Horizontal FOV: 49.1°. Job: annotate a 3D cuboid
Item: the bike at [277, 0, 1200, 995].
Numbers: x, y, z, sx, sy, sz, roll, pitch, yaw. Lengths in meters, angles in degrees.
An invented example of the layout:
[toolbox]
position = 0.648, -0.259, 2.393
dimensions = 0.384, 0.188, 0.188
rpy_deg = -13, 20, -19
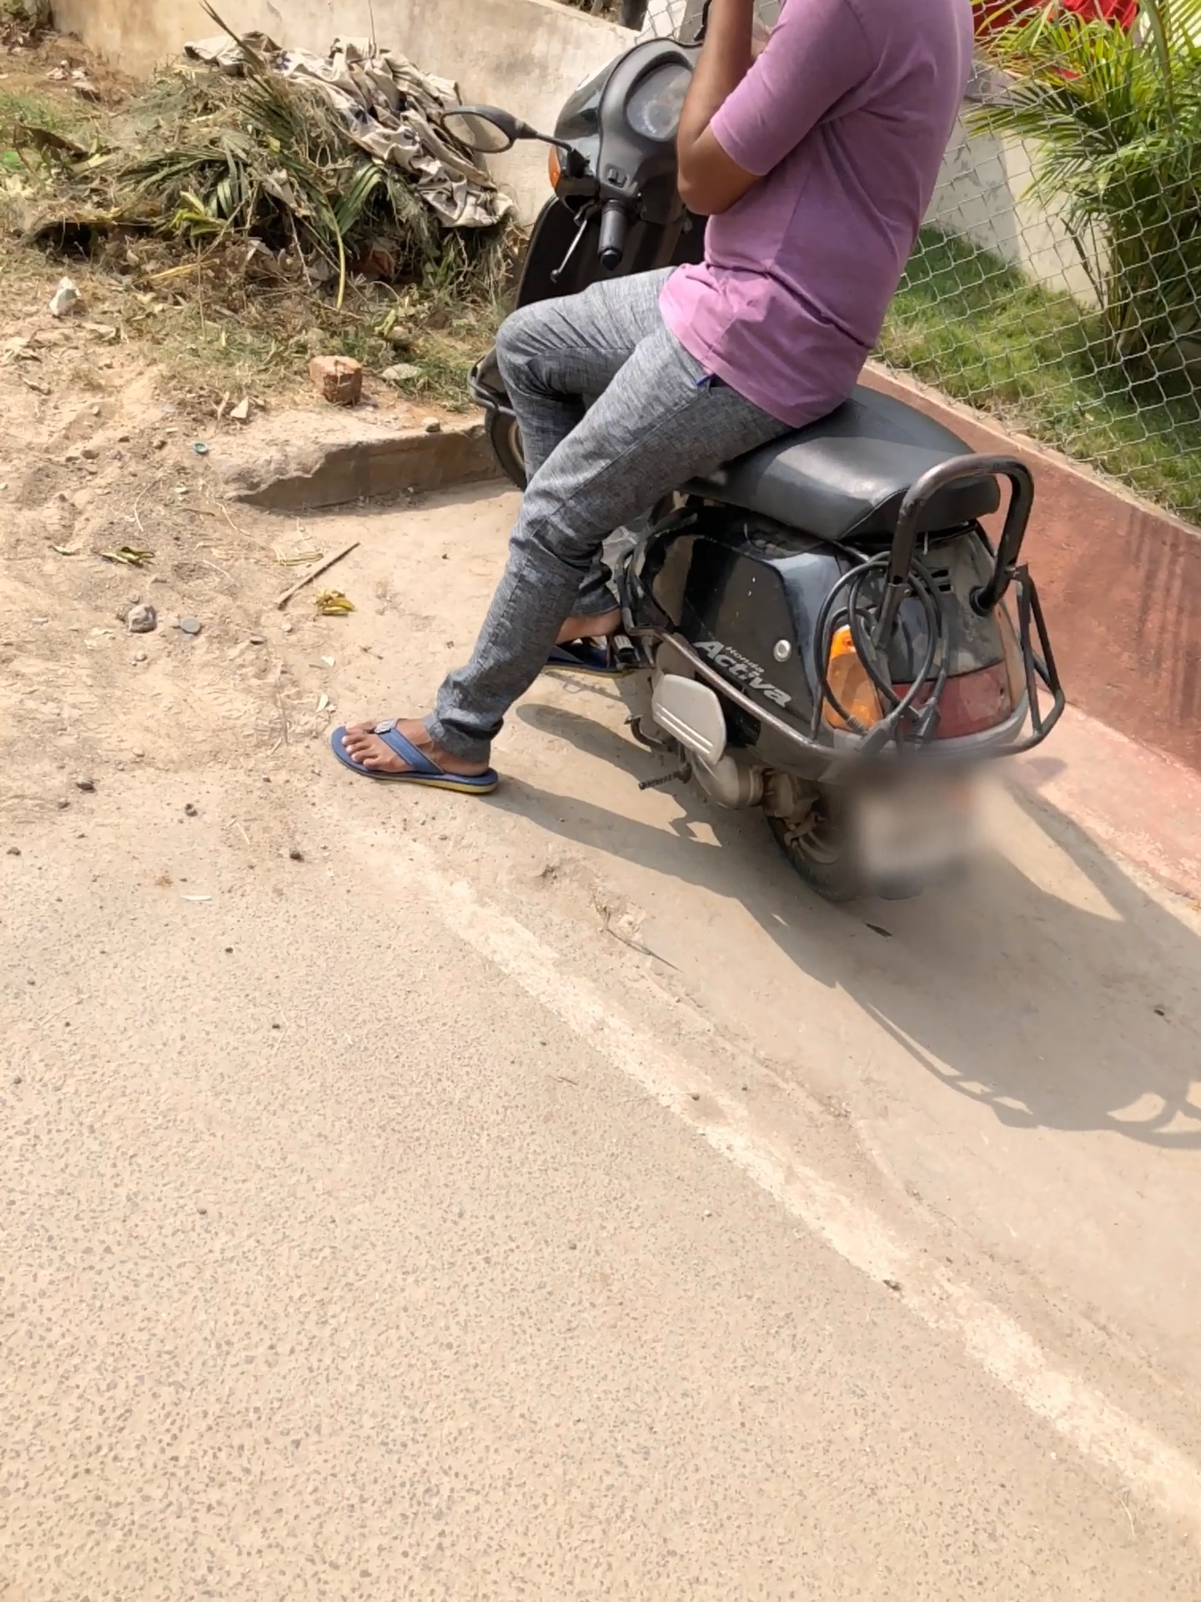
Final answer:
[bike]
position = 0.085, -0.674, 2.243
dimensions = 0.710, 1.152, 1.553
rpy_deg = -3, 38, -30
